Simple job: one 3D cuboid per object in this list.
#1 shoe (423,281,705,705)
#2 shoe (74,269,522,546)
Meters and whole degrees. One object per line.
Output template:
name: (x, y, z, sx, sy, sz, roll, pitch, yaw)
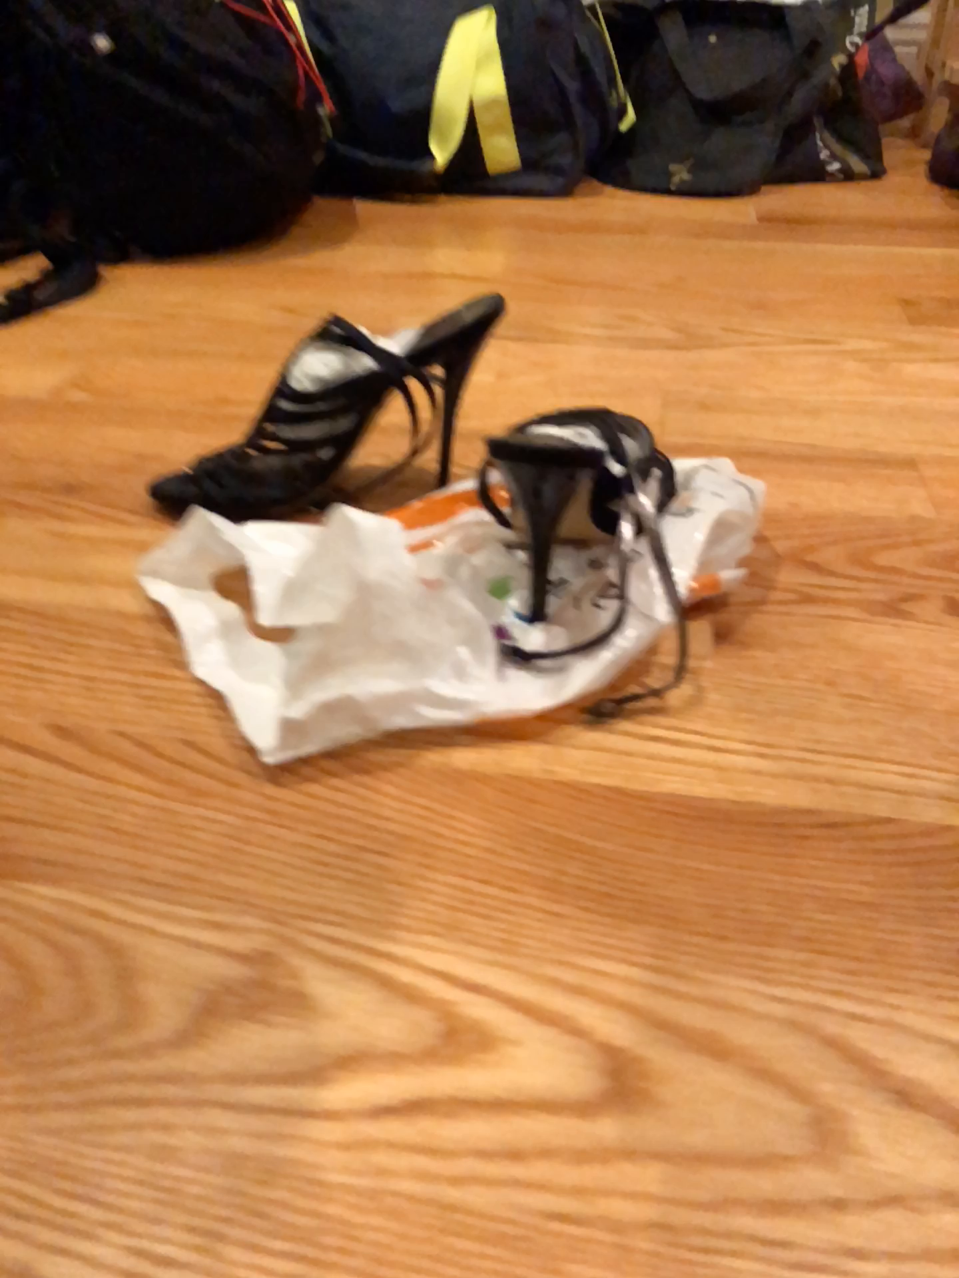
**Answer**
shoe: (0.049, -0.085, 0.514, 0.092, 0.112, 0.218, 8, 35, 12)
shoe: (-0.093, -0.131, 0.583, 0.217, 0.112, 0.091, -5, 35, -7)
